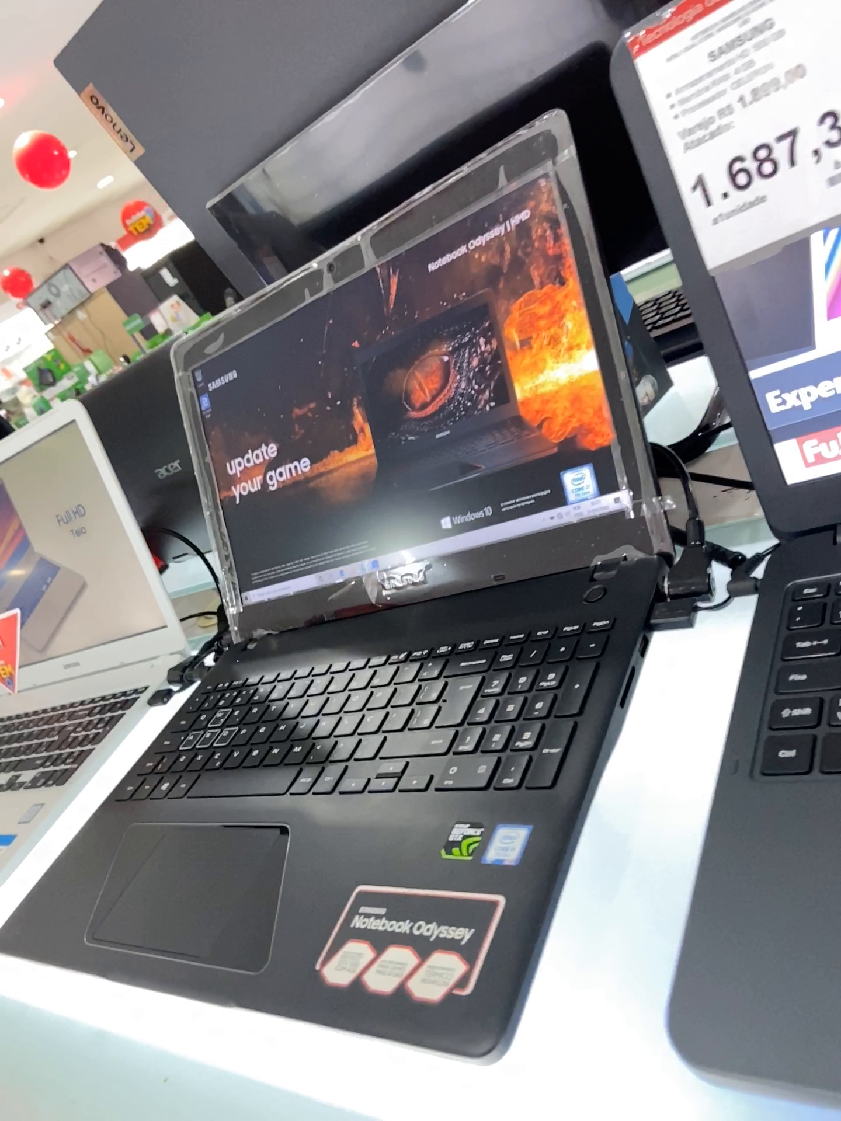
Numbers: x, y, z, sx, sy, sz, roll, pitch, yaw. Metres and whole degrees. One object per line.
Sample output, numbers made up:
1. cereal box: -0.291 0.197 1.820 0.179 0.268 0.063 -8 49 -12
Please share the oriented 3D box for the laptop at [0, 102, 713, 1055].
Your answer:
1. laptop: -0.092 -0.008 0.483 0.374 0.202 0.392 -15 29 40
